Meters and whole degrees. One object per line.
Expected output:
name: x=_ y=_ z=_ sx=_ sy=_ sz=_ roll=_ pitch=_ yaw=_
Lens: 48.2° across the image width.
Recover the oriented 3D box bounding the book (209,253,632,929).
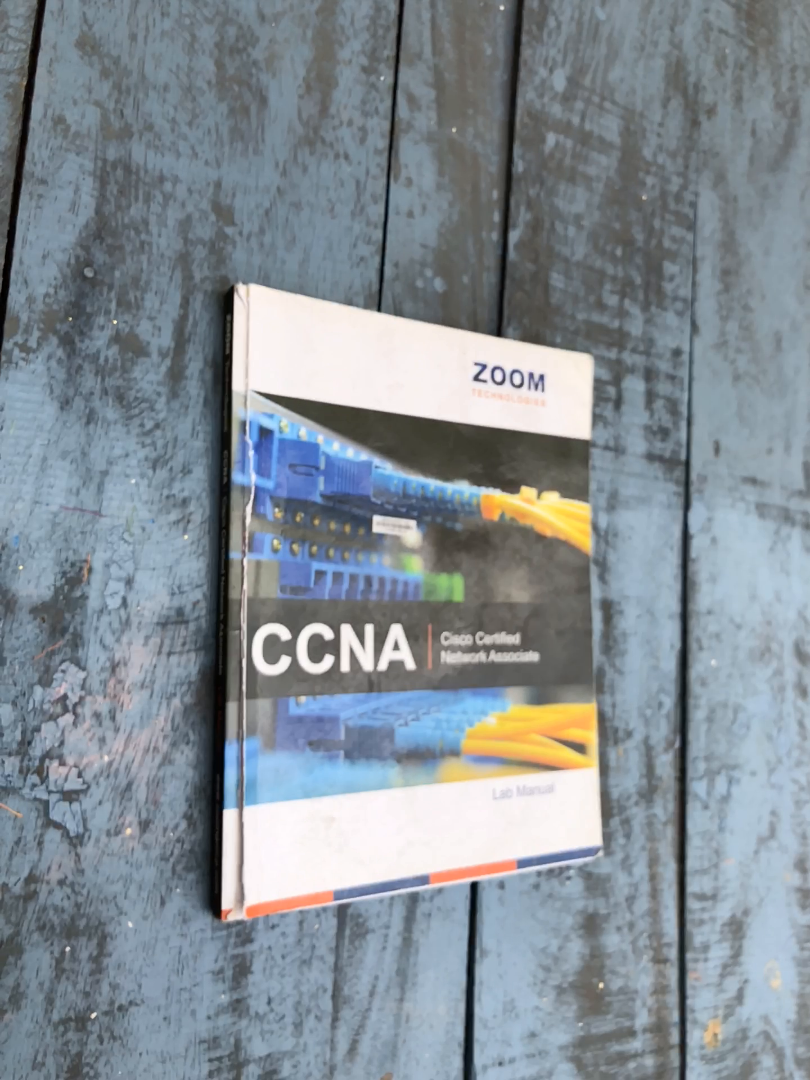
book: x=0.013 y=0.020 z=0.412 sx=0.201 sy=0.030 sz=0.260 roll=3 pitch=81 yaw=-32
